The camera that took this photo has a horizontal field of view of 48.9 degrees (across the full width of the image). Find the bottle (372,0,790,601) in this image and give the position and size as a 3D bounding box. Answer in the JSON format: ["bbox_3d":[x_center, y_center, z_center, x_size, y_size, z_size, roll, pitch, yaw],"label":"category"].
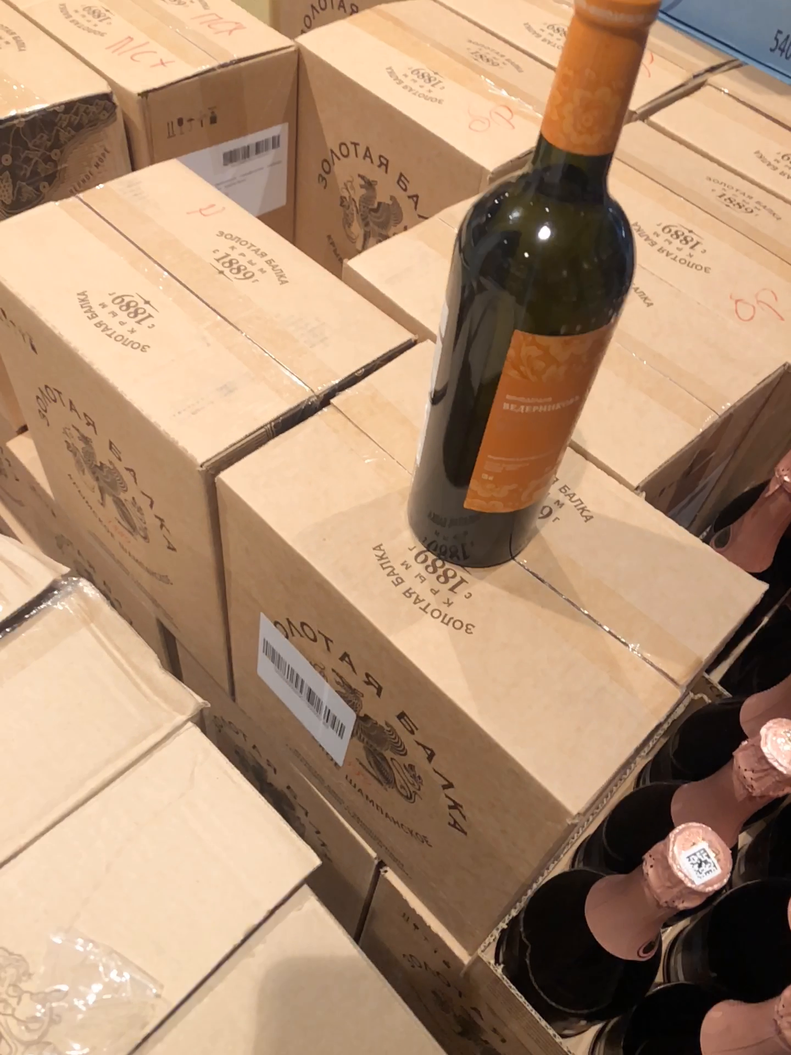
[{"bbox_3d":[0.061,-0.093,0.400,0.090,0.278,0.090,3,53,-4],"label":"bottle"}]
